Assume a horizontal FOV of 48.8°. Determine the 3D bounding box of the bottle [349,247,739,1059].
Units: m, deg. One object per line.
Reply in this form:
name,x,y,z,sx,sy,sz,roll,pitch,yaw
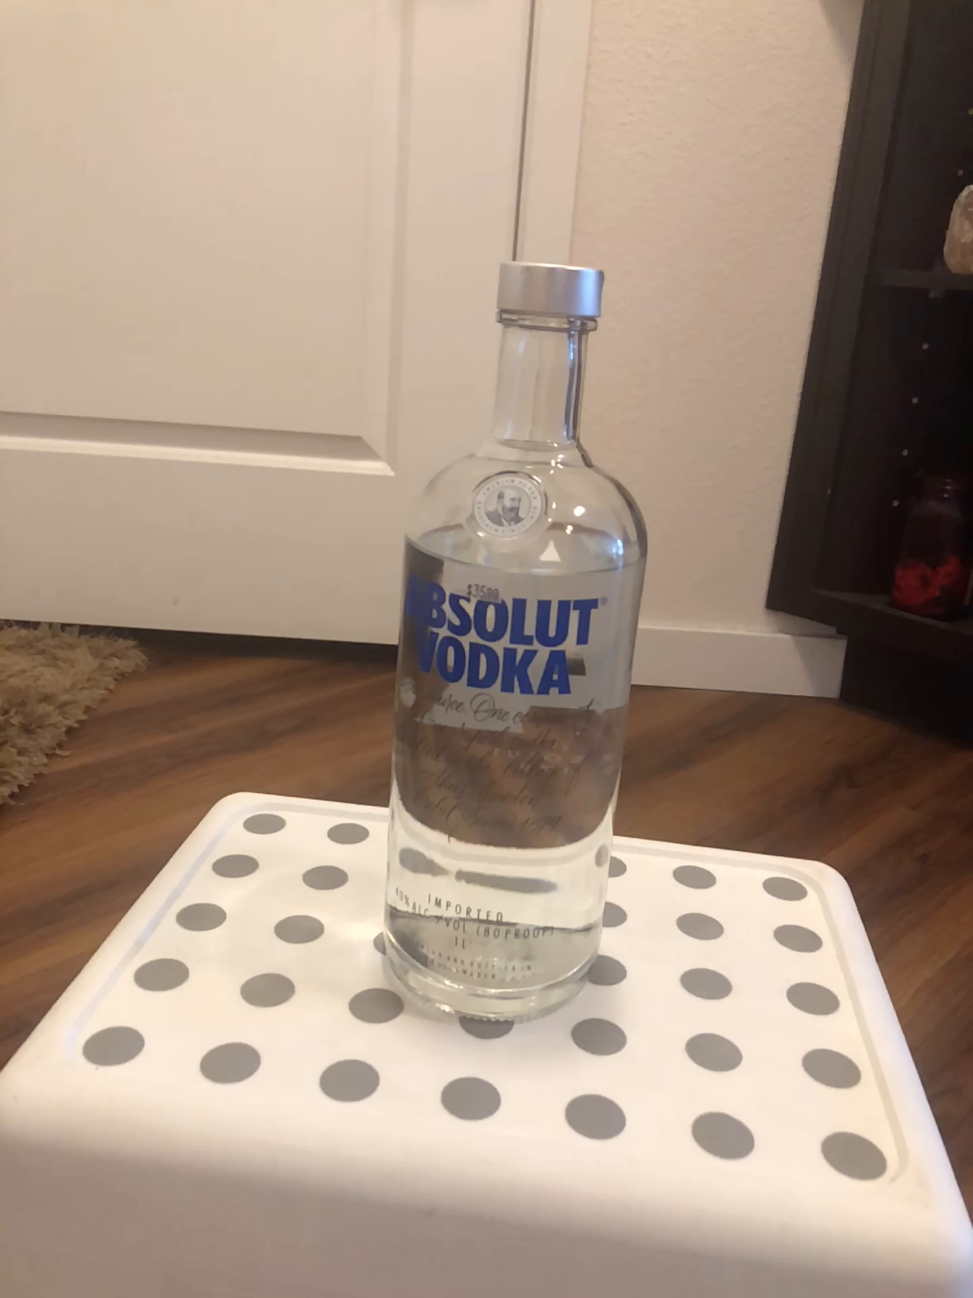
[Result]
bottle,0.018,-0.003,0.403,0.090,0.269,0.100,14,21,27
